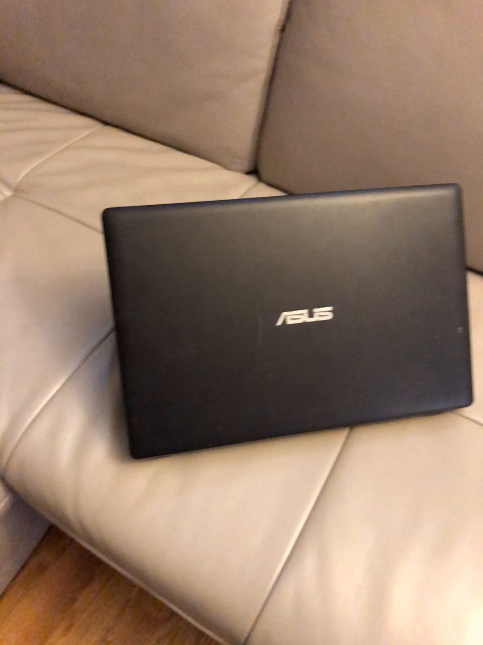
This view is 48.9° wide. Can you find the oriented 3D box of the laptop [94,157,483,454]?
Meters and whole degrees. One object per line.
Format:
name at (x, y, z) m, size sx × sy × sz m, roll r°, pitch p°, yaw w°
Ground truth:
laptop at (0.051, -0.030, 0.567) m, size 0.370 × 0.156 × 0.243 m, roll -6°, pitch 53°, yaw -9°
